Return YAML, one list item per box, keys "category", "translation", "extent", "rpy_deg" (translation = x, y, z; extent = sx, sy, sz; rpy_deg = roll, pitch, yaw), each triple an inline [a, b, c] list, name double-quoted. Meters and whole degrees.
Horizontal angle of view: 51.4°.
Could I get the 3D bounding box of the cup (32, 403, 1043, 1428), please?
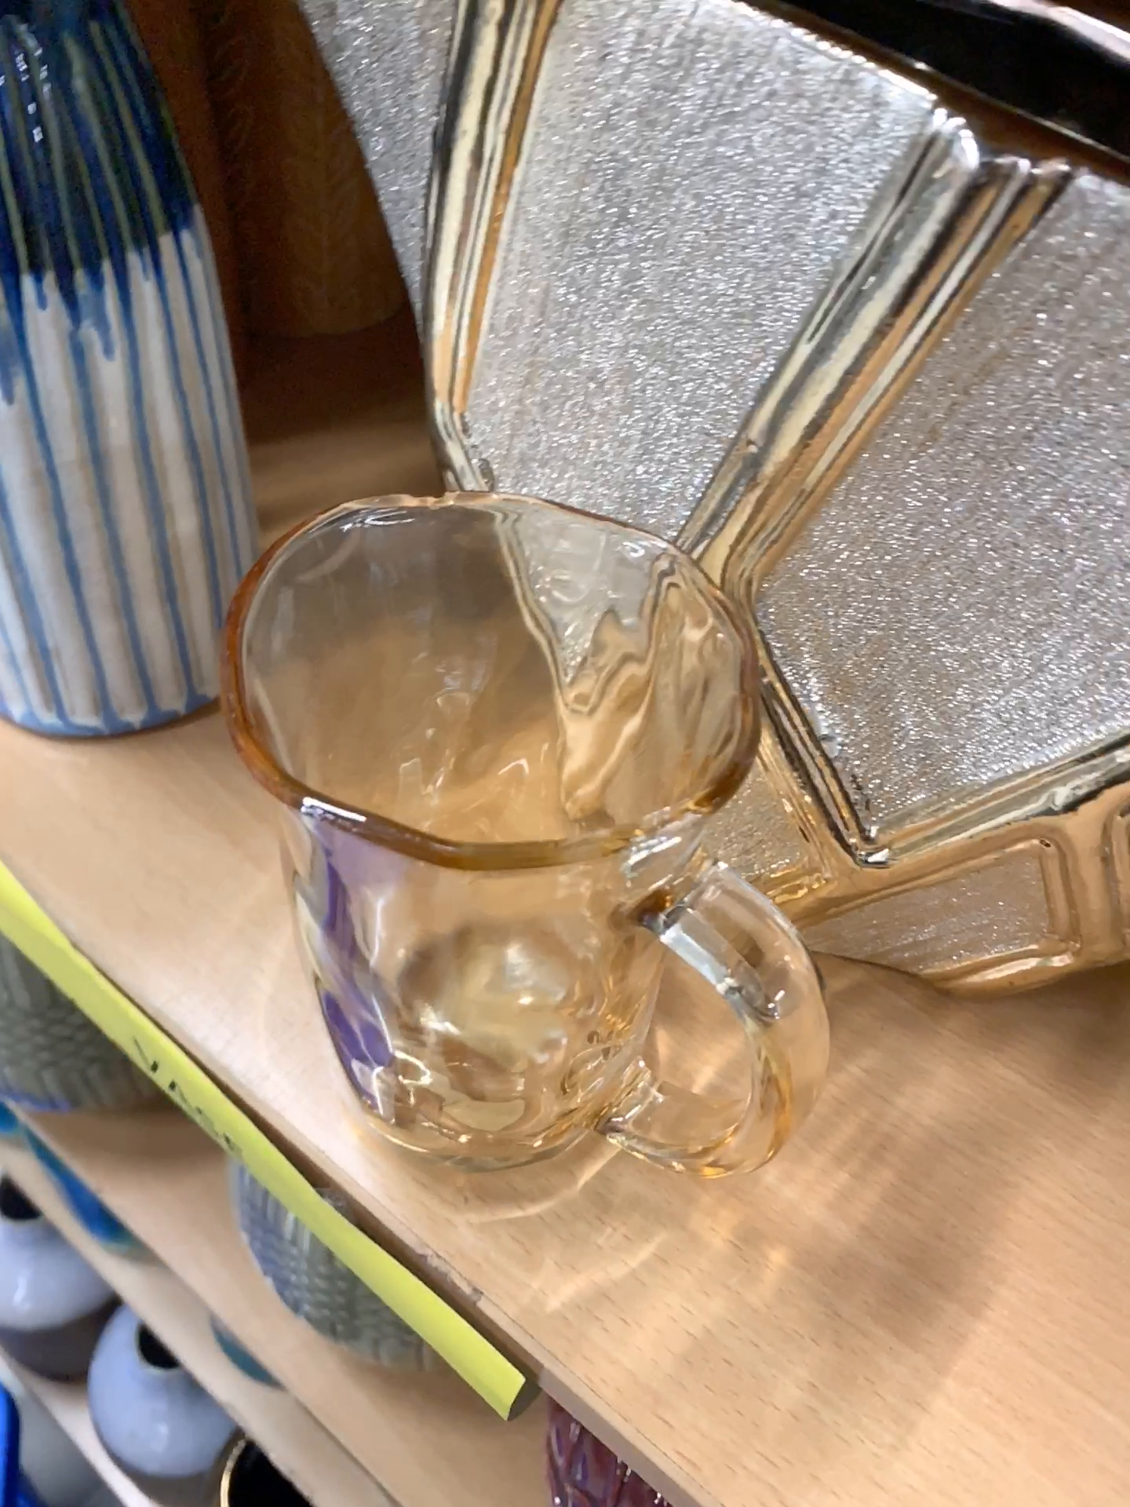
- category: "cup"
  translation: [-0.007, 0.023, 0.193]
  extent: [0.110, 0.100, 0.080]
  rpy_deg: [34, 53, 24]
